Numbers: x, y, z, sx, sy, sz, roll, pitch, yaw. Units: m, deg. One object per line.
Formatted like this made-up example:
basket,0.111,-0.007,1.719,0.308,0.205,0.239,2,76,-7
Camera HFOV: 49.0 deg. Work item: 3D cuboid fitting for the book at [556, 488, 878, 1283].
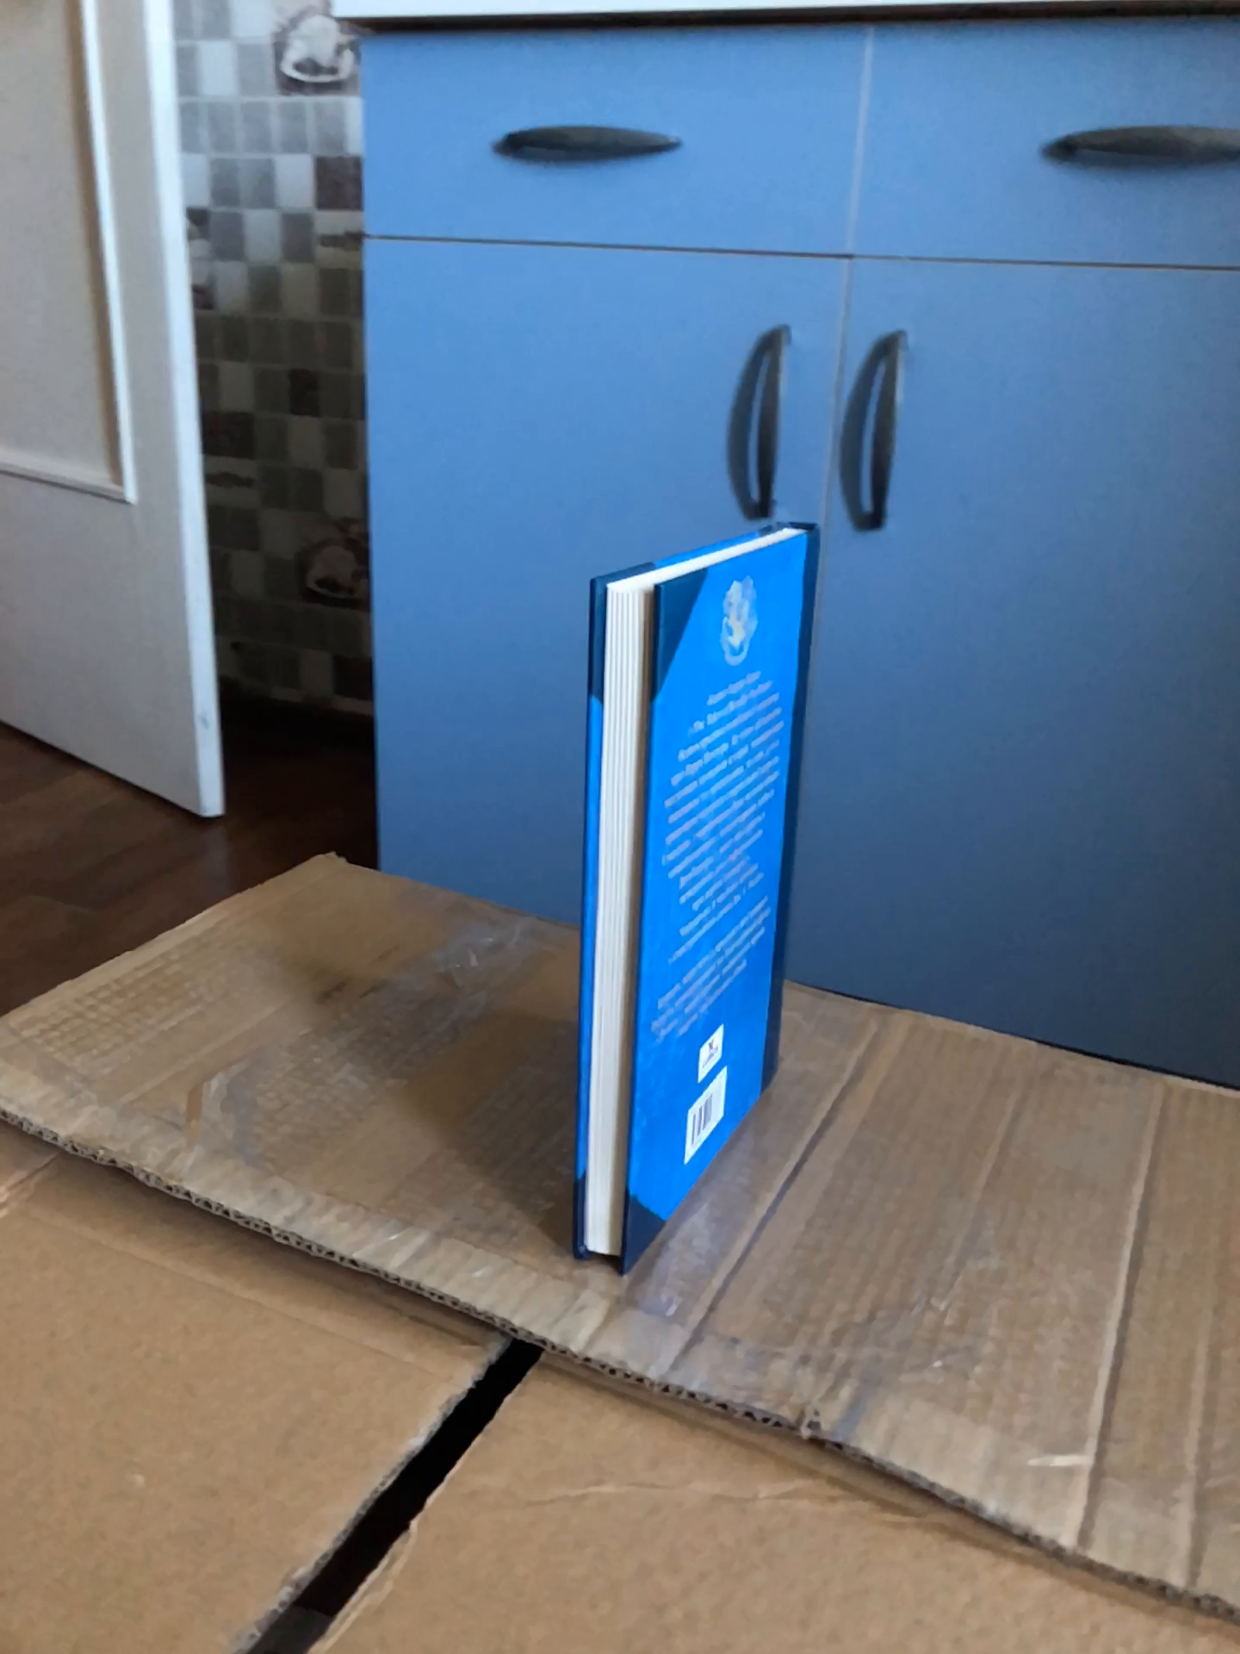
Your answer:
book,0.032,0.009,0.410,0.030,0.199,0.144,12,23,24
